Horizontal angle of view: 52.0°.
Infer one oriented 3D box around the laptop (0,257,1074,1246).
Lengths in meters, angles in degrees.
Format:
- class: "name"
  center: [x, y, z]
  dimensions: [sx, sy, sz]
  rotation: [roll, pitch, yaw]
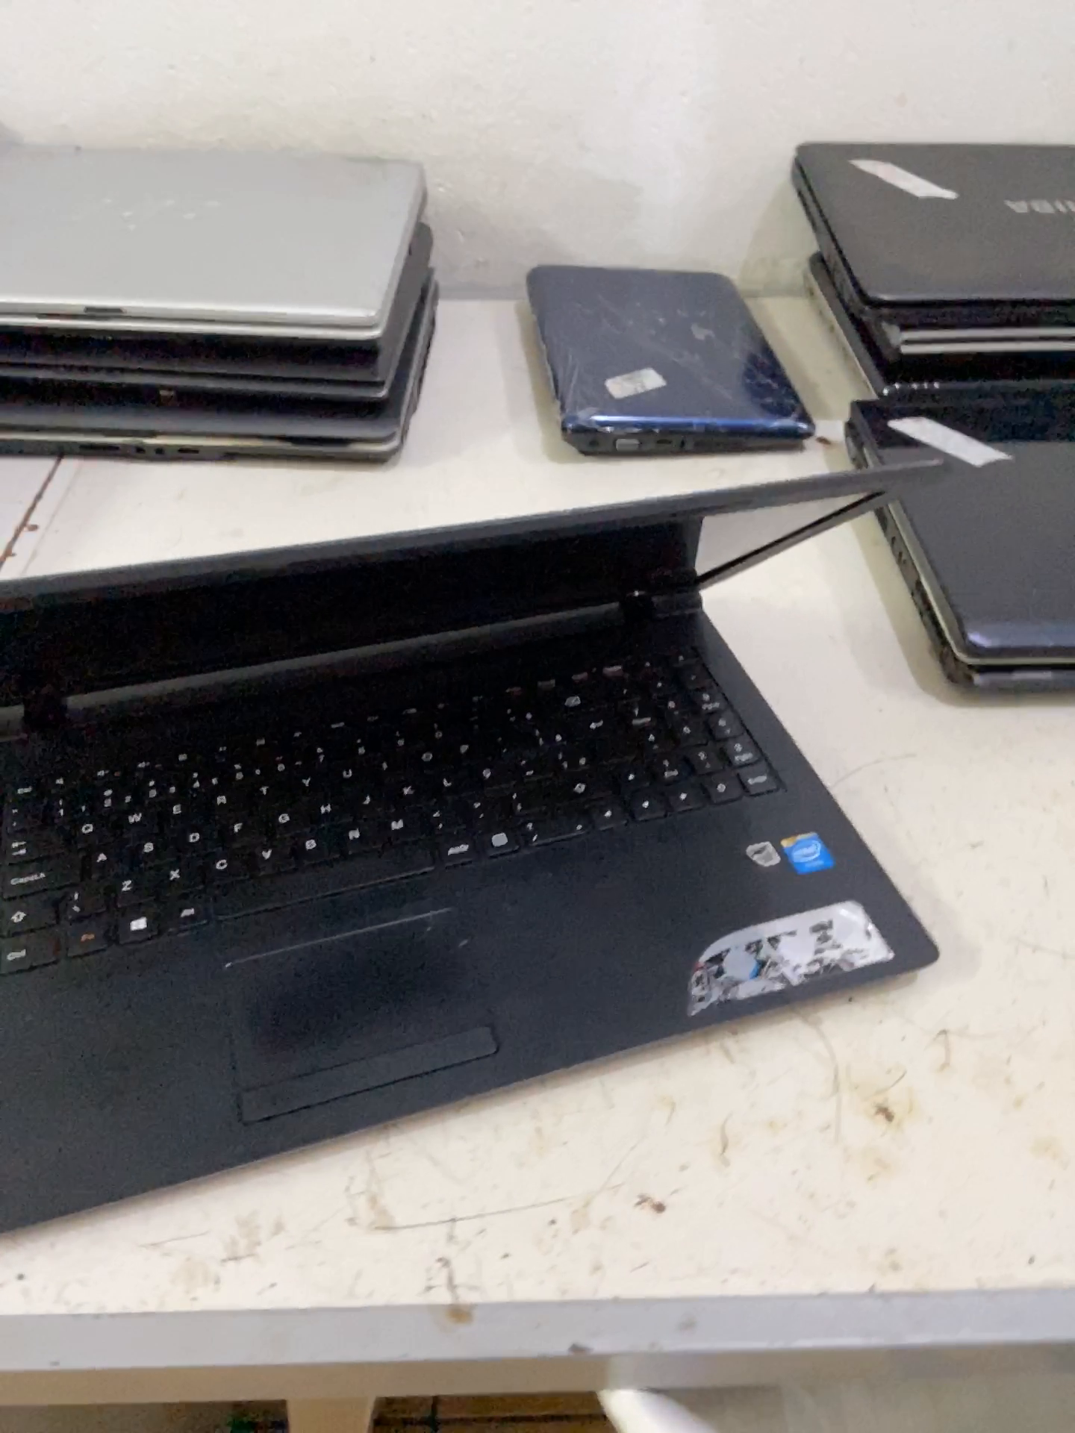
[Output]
- class: "laptop"
  center: [-0.052, -0.019, 0.427]
  dimensions: [0.376, 0.189, 0.259]
  rotation: [-11, 44, -14]
